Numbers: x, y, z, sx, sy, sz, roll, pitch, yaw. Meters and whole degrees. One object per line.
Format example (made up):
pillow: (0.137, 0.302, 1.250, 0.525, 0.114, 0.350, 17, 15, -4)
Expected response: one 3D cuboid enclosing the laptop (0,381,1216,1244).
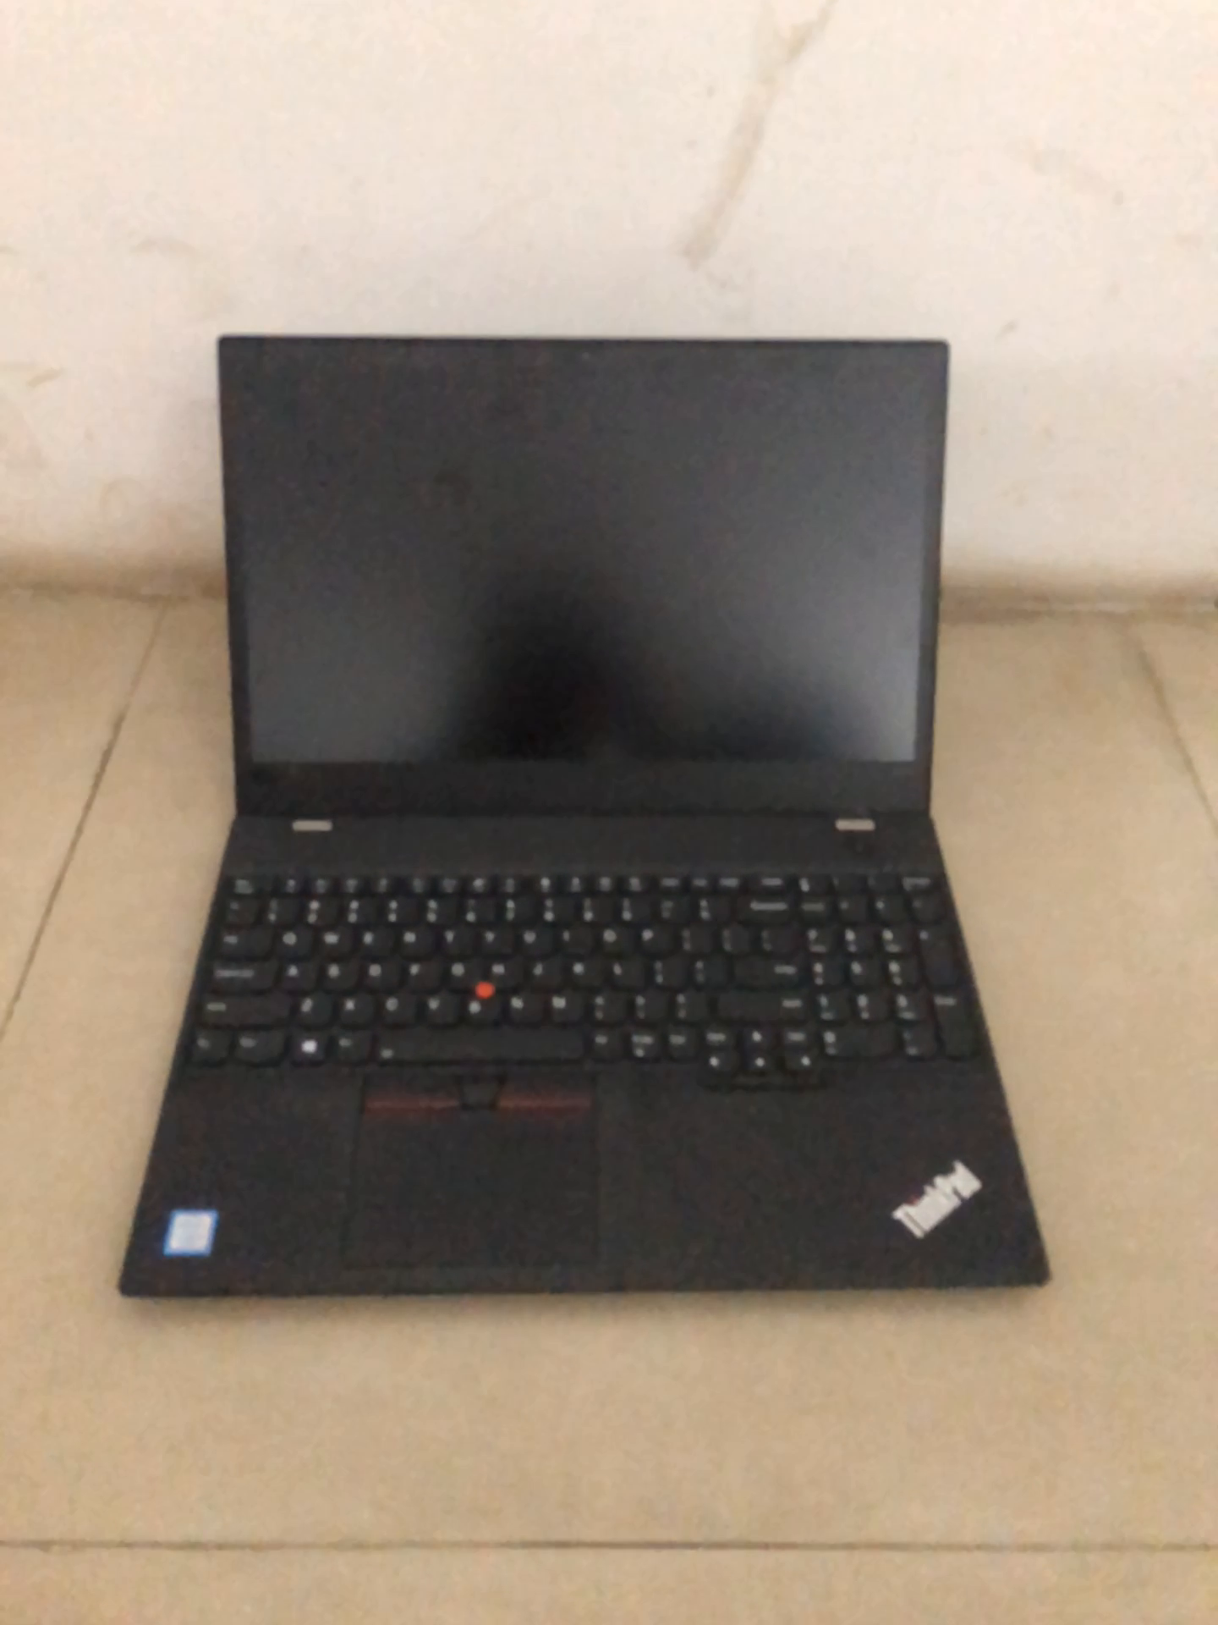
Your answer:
laptop: (-0.014, -0.021, 0.570, 0.344, 0.192, 0.365, 0, 41, -4)
